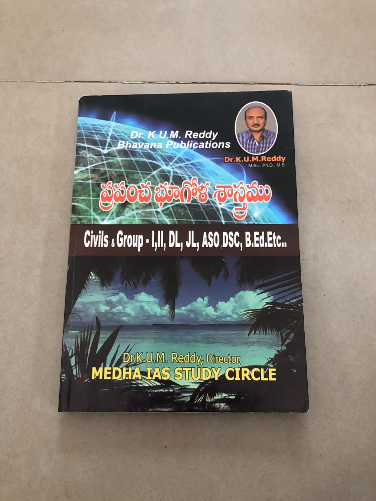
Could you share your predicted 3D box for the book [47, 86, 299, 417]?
[{"bbox_3d":[-0.011,-0.006,0.338,0.180,0.030,0.260,-1,78,2],"label":"book"}]
